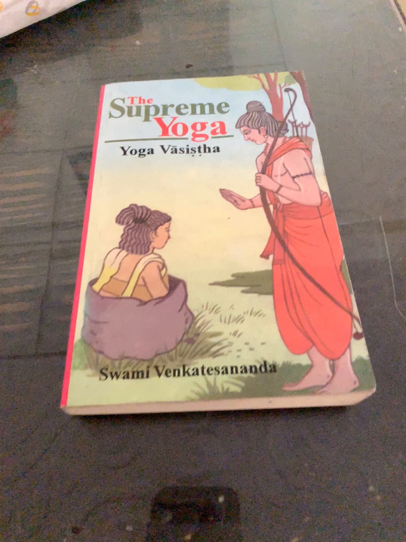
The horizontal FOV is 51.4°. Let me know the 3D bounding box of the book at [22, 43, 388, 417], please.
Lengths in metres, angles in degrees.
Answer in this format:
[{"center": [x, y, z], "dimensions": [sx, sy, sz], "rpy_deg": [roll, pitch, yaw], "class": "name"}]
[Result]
[{"center": [-0.003, -0.038, 0.226], "dimensions": [0.140, 0.030, 0.211], "rpy_deg": [-4, 61, 2], "class": "book"}]
